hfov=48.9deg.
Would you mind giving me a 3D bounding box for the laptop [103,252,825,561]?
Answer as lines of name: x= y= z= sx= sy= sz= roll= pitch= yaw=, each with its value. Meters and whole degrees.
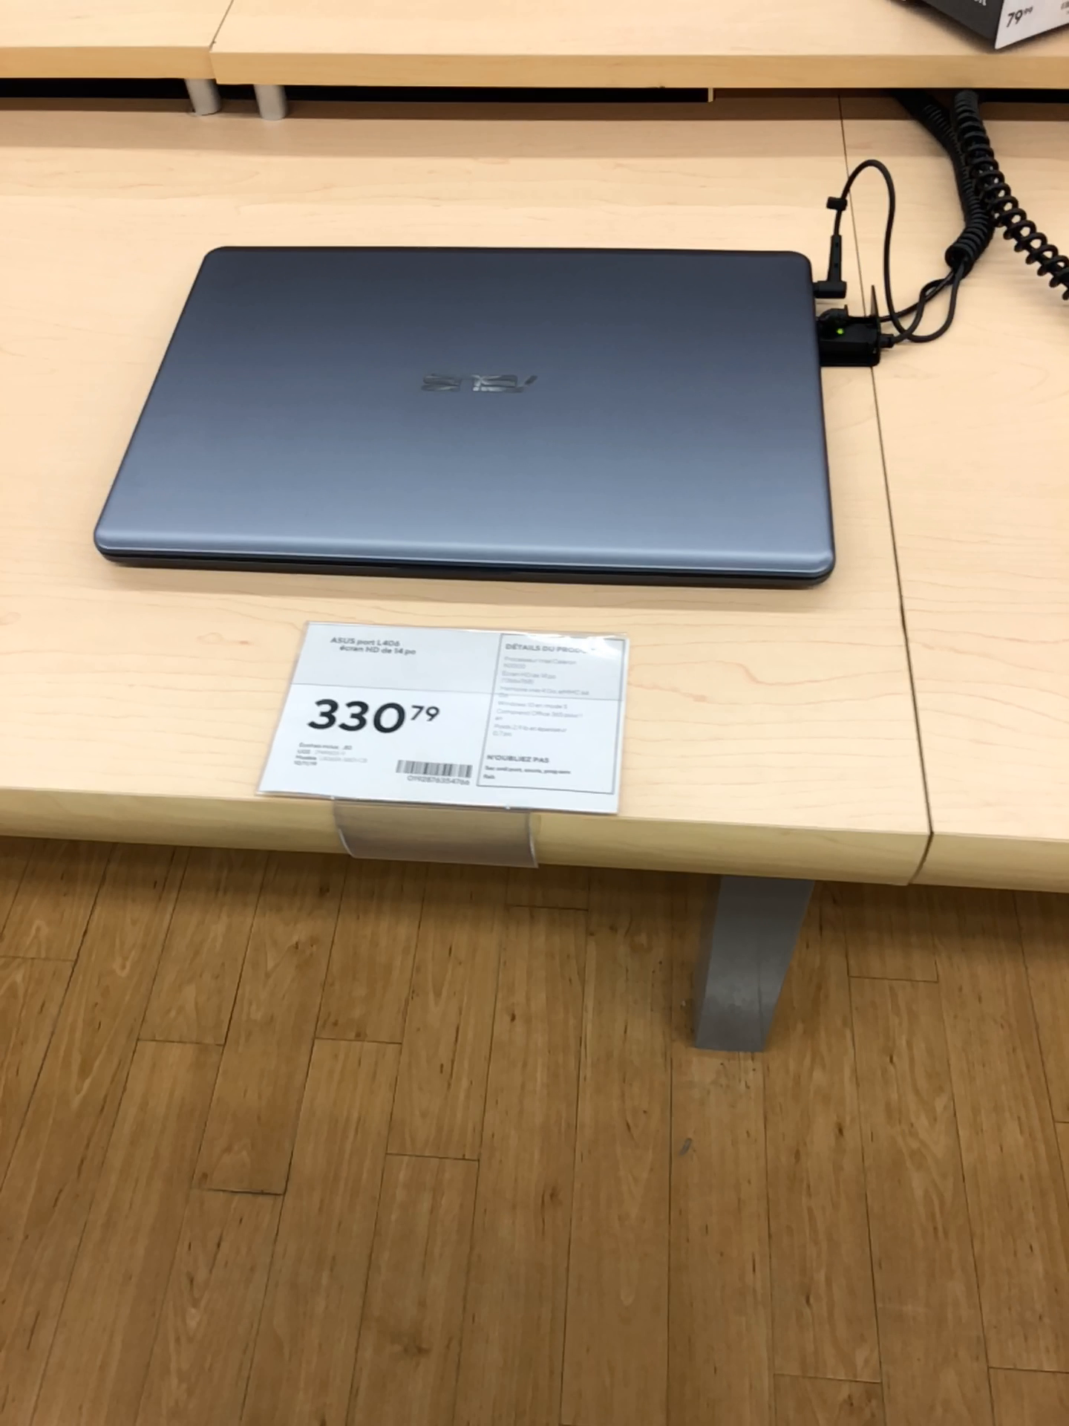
laptop: x=-0.027 y=-0.159 z=0.571 sx=0.318 sy=0.001 sz=0.211 roll=2 pitch=56 yaw=5
